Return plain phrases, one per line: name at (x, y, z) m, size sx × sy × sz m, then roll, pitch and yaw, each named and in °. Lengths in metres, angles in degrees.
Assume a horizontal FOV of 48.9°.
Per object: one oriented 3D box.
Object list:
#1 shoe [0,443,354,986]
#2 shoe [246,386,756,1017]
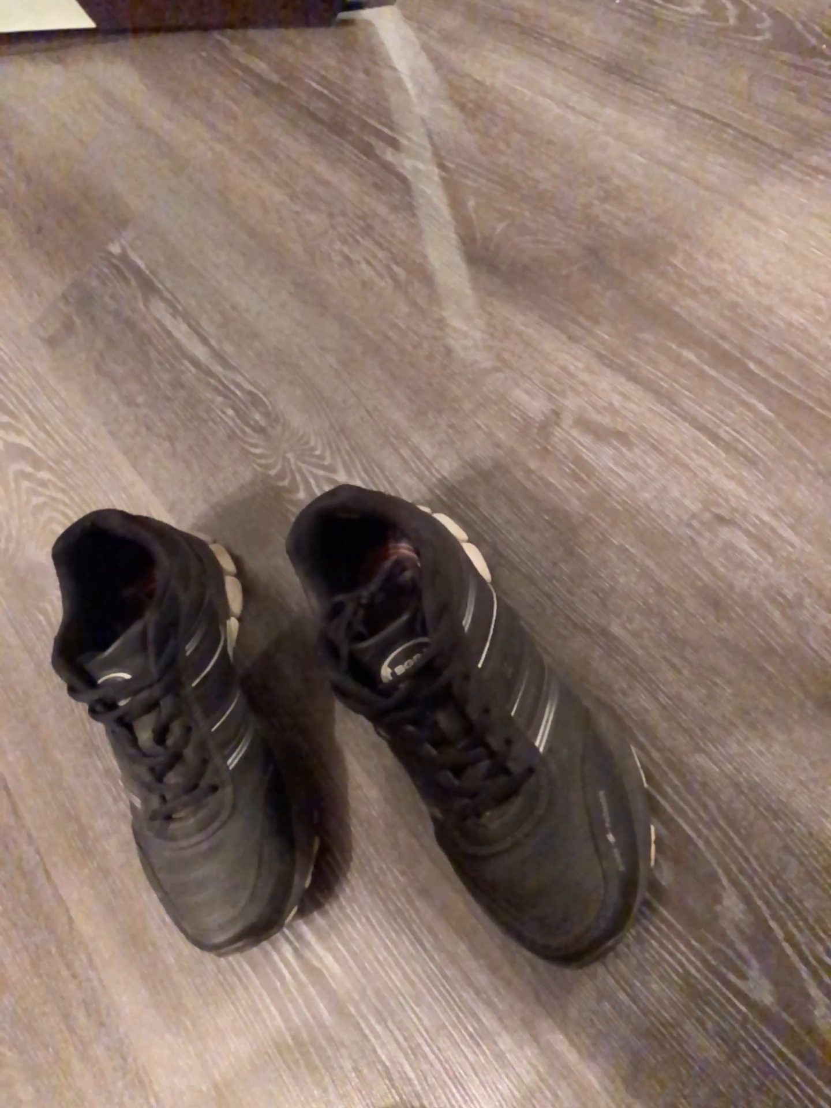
shoe at (-0.135, 0.079, 0.489) m, size 0.100 × 0.090 × 0.251 m, roll -30°, pitch 61°, yaw 10°
shoe at (0.033, 0.062, 0.443) m, size 0.110 × 0.100 × 0.261 m, roll -35°, pitch 60°, yaw 7°
